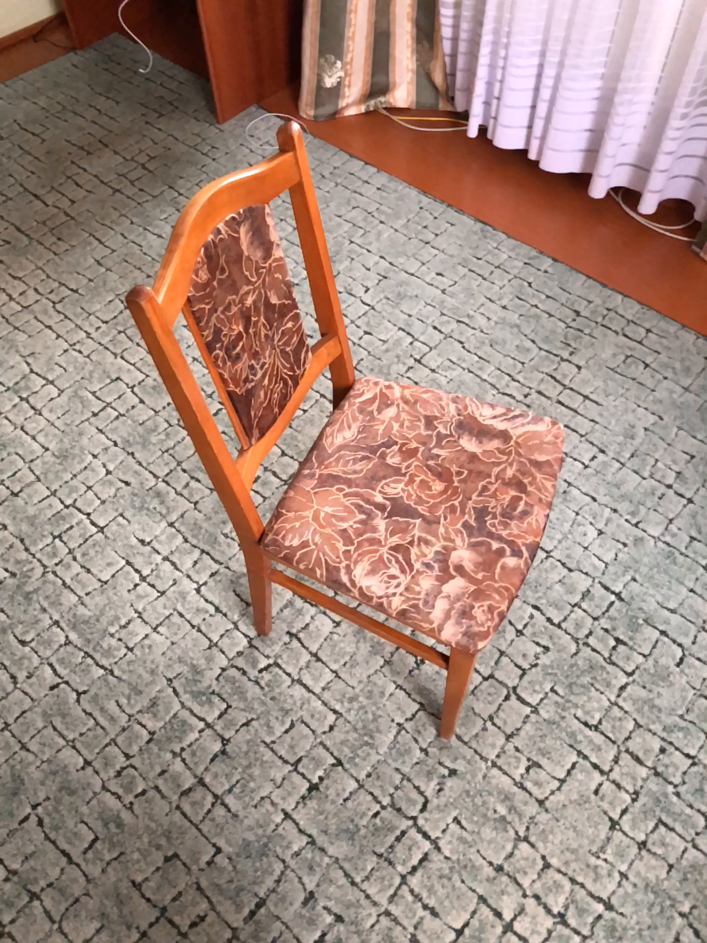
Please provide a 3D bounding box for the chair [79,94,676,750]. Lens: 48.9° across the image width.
[{"bbox_3d":[0.055,-0.014,1.276,0.551,0.875,0.482,22,58,16],"label":"chair"}]
